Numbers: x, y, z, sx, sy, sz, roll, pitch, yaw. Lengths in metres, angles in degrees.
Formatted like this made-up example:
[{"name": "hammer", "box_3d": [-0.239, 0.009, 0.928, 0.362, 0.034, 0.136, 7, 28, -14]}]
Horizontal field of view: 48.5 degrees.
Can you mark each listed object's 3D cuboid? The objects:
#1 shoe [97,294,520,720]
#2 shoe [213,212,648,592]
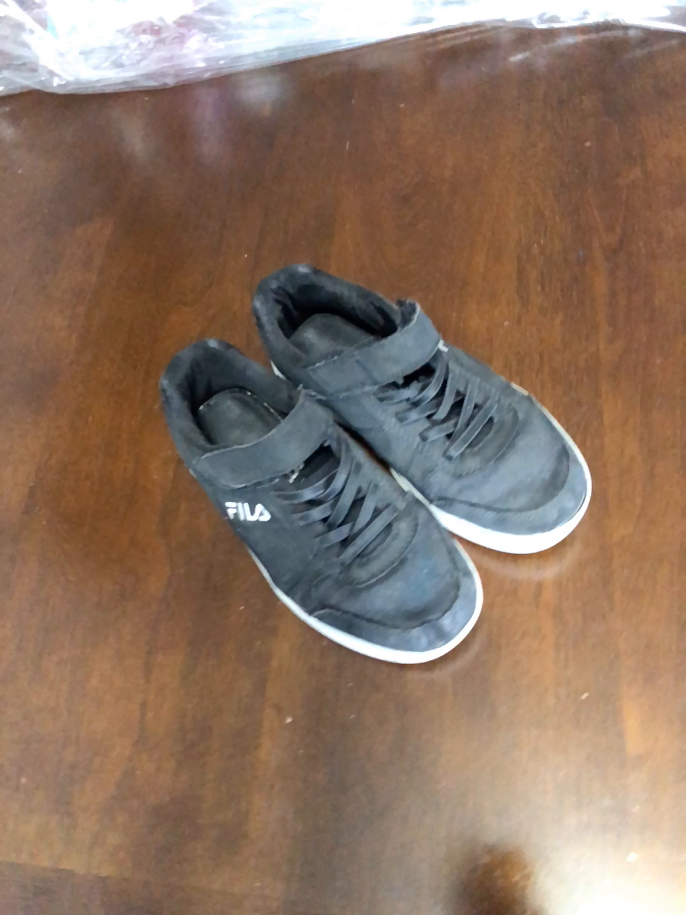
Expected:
[{"name": "shoe", "box_3d": [-0.020, 0.020, 0.397, 0.090, 0.080, 0.210, -44, 62, -11]}, {"name": "shoe", "box_3d": [0.042, -0.036, 0.419, 0.210, 0.080, 0.090, 36, 76, 27]}]
